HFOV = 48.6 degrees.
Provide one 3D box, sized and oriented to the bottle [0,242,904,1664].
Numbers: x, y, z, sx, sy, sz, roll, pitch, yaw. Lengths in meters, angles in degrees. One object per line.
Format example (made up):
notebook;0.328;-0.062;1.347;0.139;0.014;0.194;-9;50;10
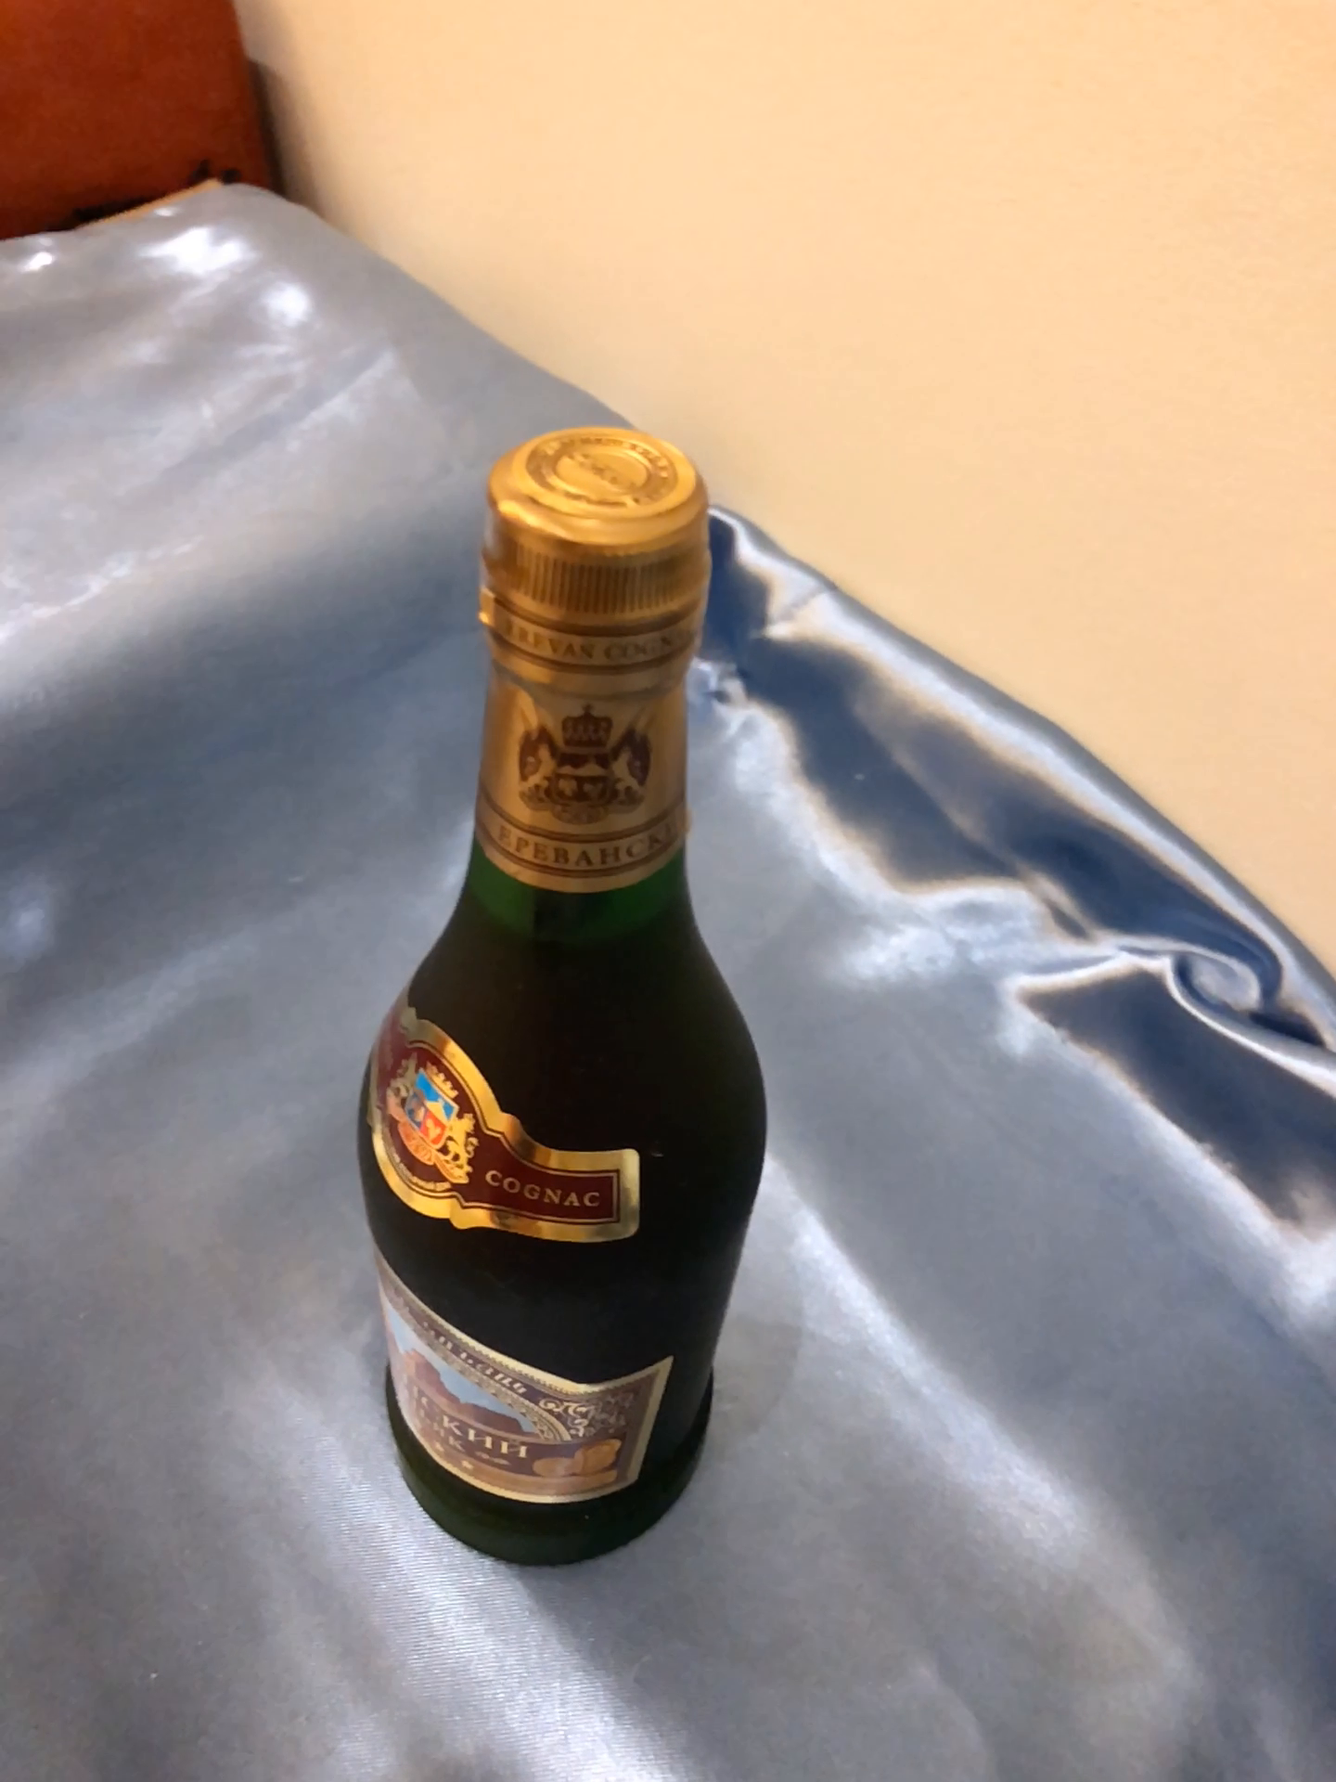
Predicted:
bottle;-0.028;0.035;0.257;0.074;0.247;0.080;0;45;0
